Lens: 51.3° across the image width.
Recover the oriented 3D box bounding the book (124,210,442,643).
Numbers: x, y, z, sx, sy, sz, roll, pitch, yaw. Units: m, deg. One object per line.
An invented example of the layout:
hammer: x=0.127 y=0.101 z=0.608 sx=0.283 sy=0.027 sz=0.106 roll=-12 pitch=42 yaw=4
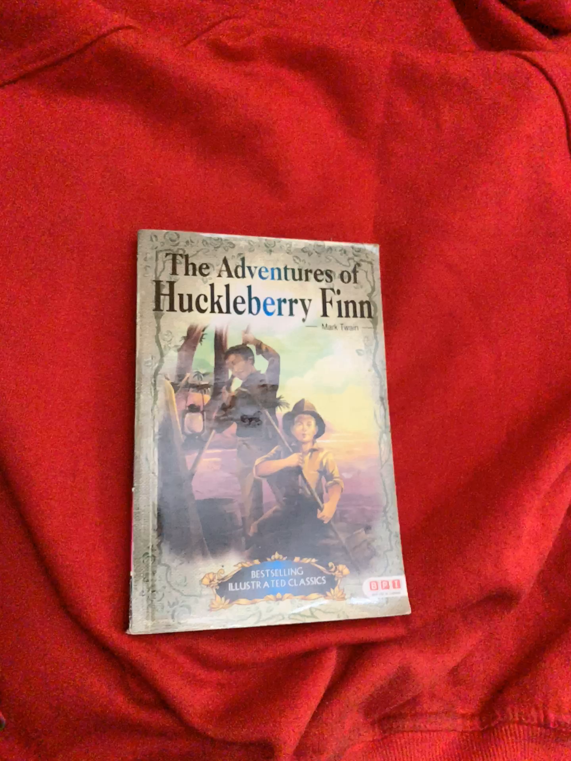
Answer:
book: x=-0.003 y=0.014 z=0.269 sx=0.130 sy=0.020 sz=0.180 roll=1 pitch=75 yaw=-13
